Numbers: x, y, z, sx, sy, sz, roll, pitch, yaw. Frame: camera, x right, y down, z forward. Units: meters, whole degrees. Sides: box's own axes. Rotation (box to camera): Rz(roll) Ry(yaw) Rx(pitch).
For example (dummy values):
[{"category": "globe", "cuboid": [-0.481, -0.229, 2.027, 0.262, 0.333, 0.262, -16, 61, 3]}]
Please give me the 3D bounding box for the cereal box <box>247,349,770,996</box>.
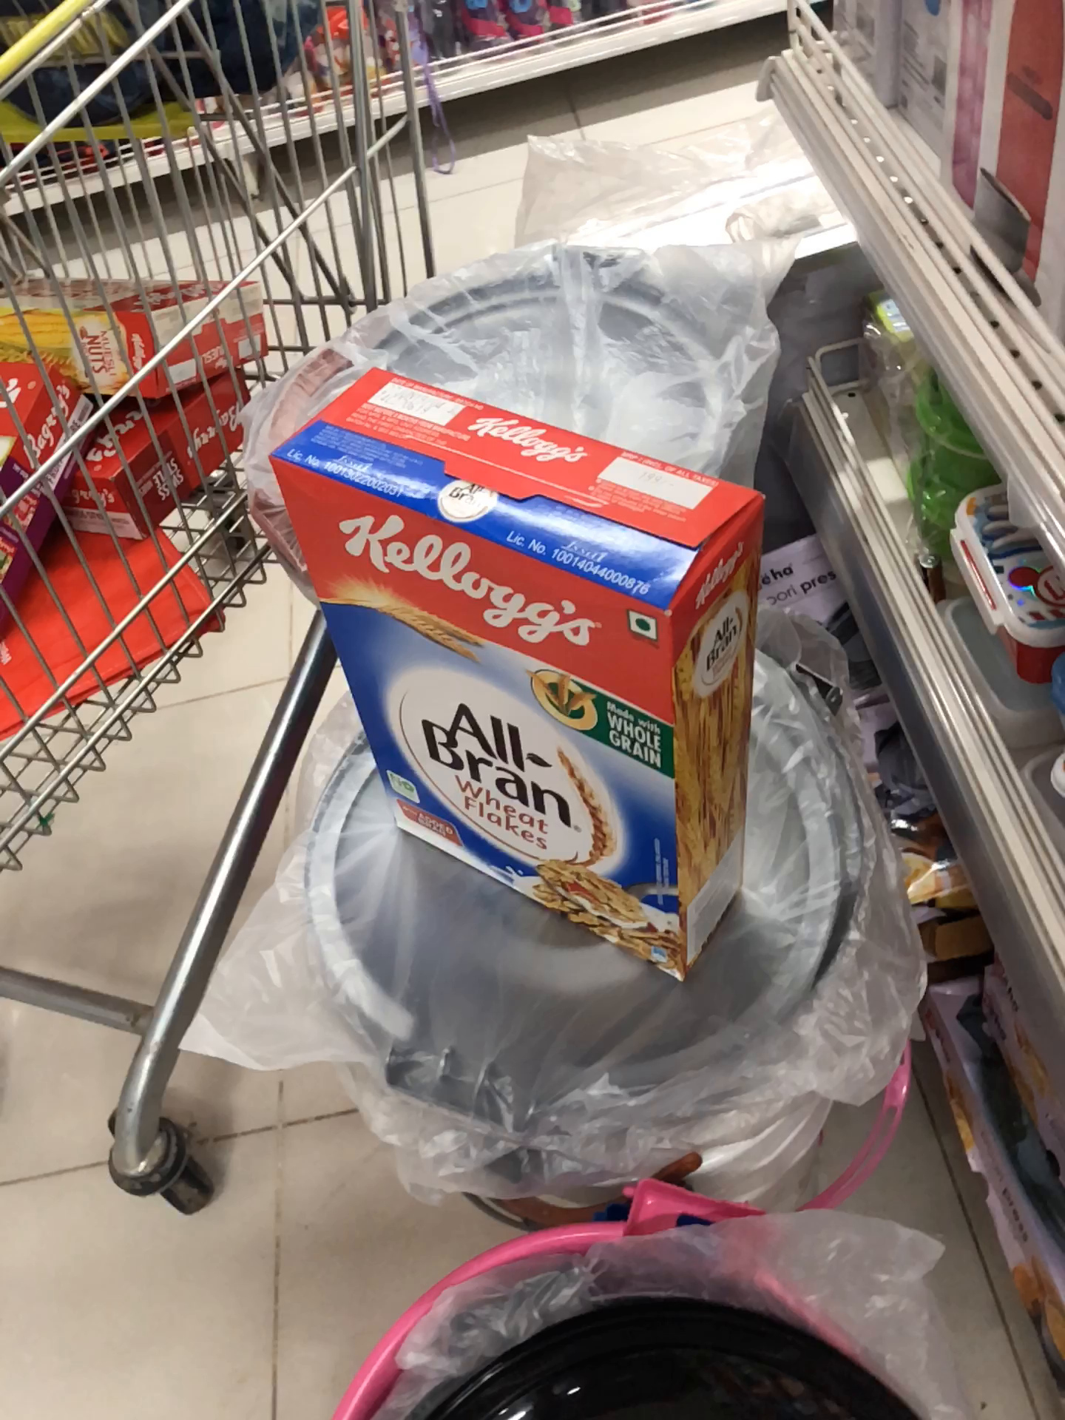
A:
[{"category": "cereal box", "cuboid": [0.003, -0.006, 0.534, 0.190, 0.269, 0.070, 25, 58, 28]}]
